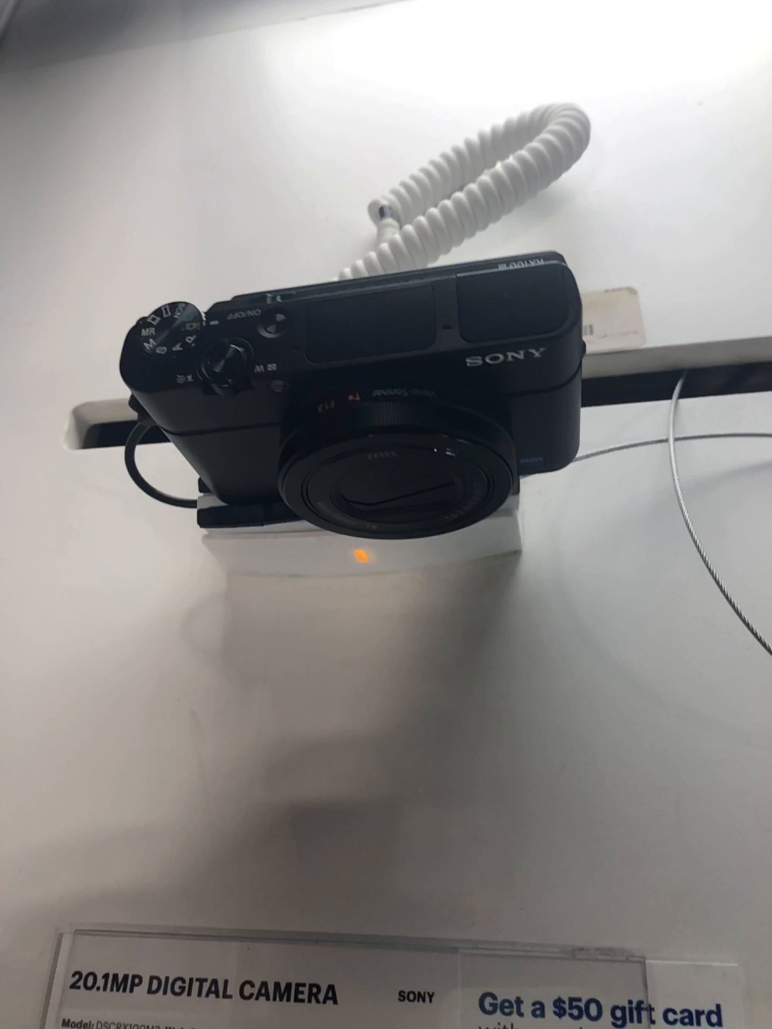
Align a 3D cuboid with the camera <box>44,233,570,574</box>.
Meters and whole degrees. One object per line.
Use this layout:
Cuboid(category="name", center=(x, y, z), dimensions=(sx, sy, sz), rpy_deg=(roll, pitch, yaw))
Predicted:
Cuboid(category="camera", center=(-0.013, -0.021, 0.194), dimensions=(0.102, 0.051, 0.041), rpy_deg=(-7, 60, 10))
